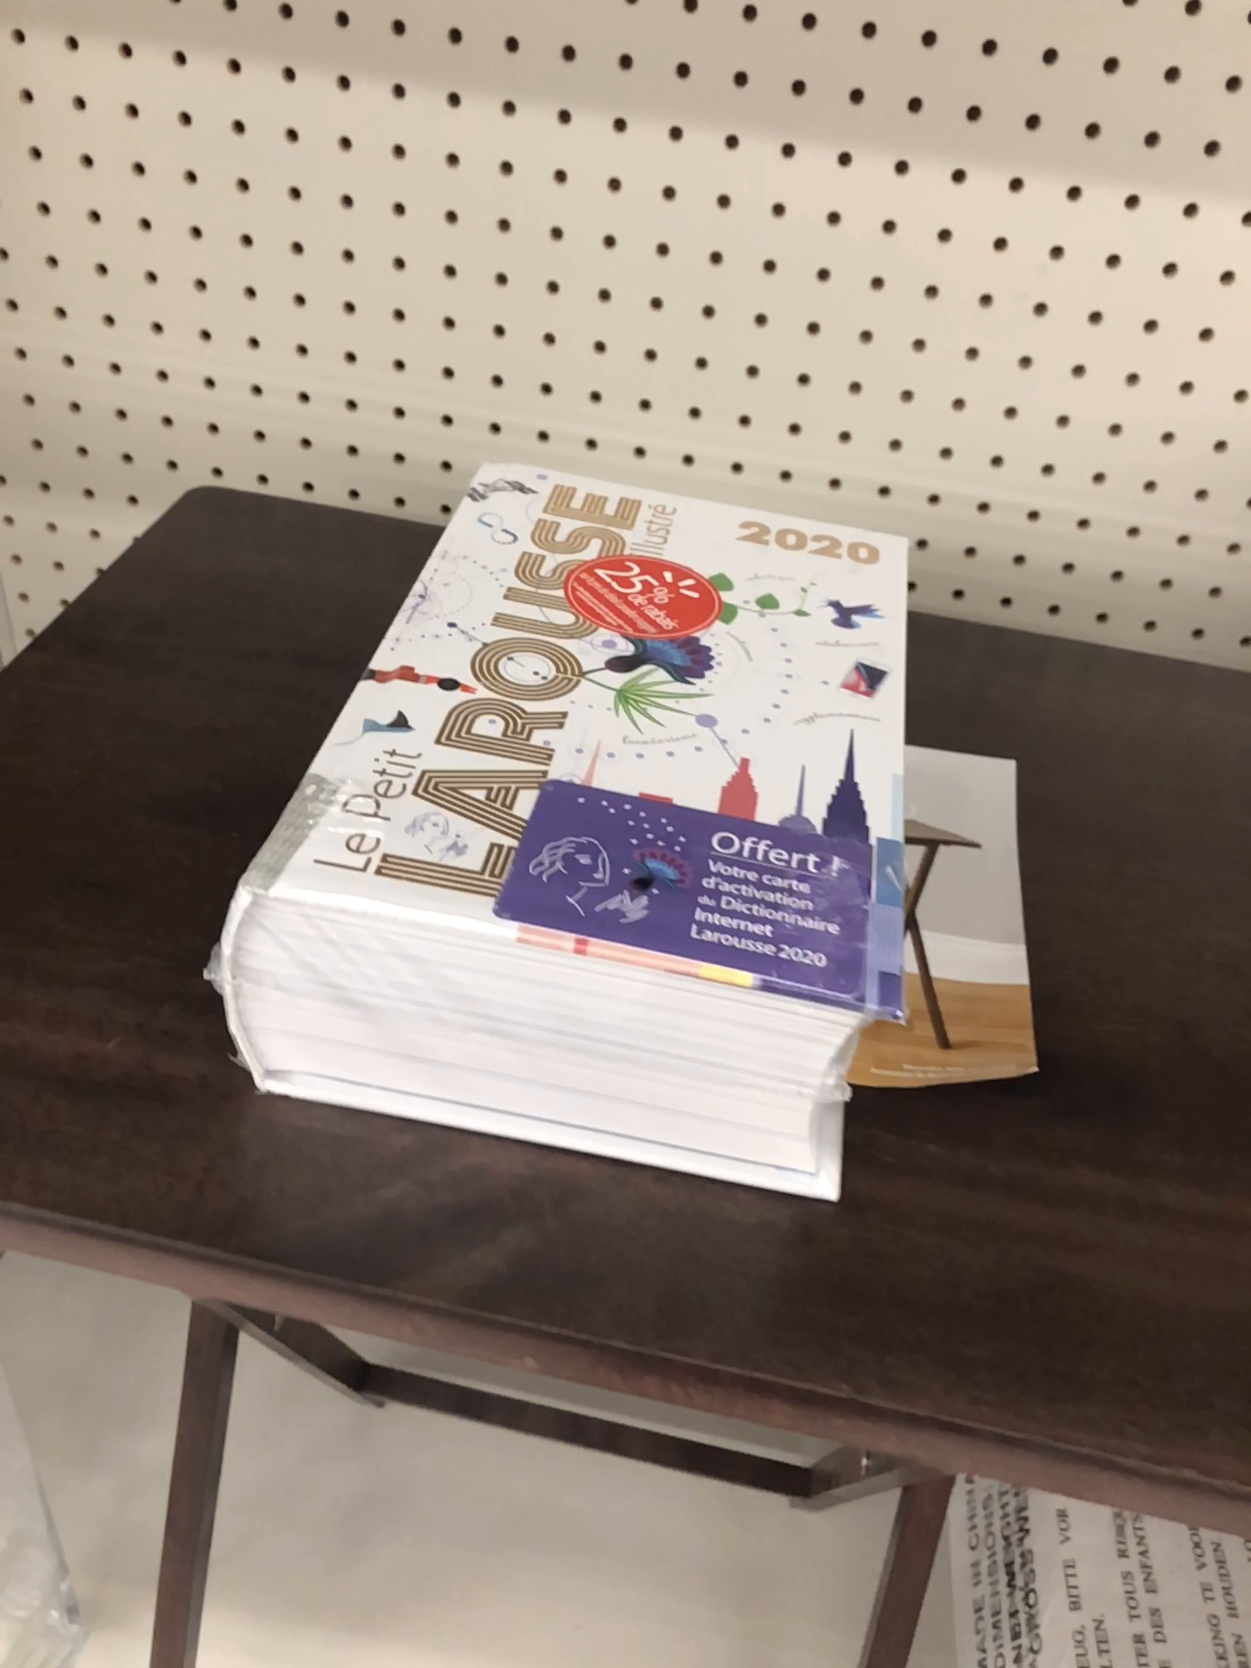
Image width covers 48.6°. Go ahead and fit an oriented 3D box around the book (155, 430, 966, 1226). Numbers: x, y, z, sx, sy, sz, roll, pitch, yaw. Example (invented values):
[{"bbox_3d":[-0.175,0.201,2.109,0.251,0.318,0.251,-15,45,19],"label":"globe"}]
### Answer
[{"bbox_3d":[0.000,-0.022,0.396,0.170,0.069,0.232,11,40,3],"label":"book"}]
